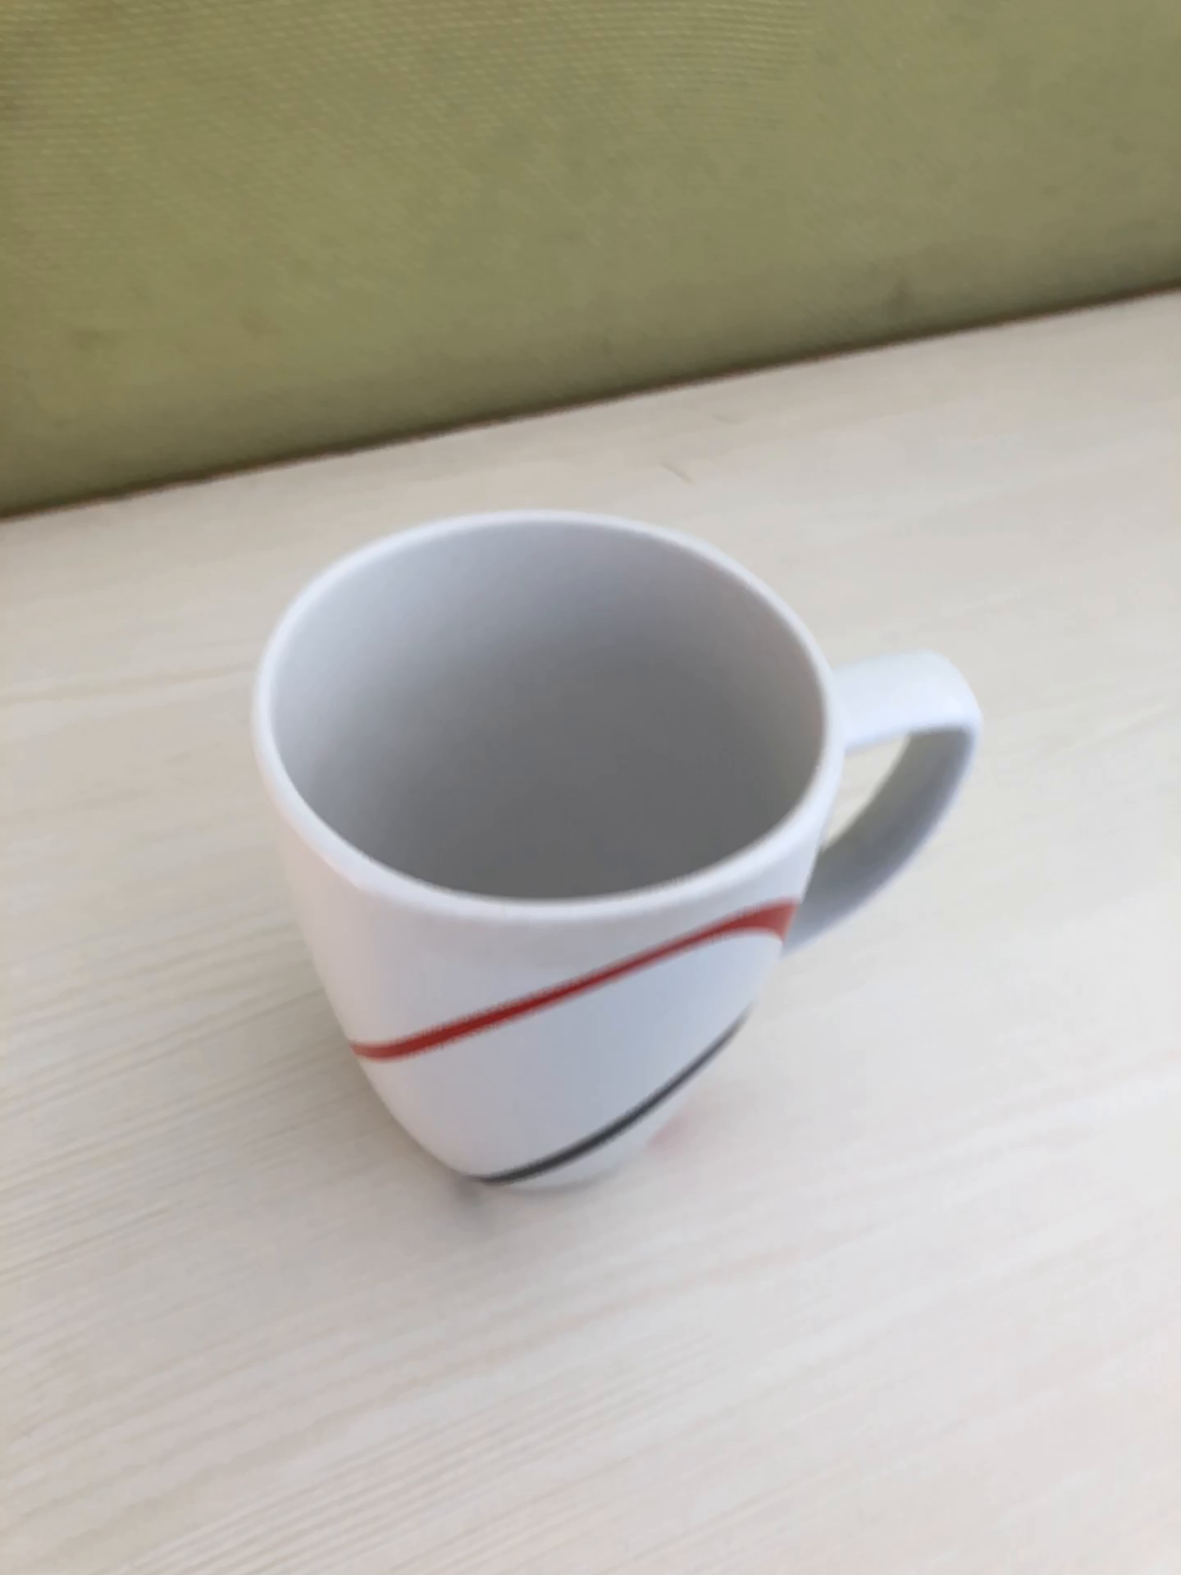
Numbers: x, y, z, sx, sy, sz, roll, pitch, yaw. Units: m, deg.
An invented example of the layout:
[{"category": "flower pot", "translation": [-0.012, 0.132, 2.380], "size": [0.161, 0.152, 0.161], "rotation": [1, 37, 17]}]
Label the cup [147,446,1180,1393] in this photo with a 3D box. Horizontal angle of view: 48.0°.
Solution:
[{"category": "cup", "translation": [0.011, 0.018, 0.216], "size": [0.140, 0.099, 0.090], "rotation": [-8, 47, -12]}]
